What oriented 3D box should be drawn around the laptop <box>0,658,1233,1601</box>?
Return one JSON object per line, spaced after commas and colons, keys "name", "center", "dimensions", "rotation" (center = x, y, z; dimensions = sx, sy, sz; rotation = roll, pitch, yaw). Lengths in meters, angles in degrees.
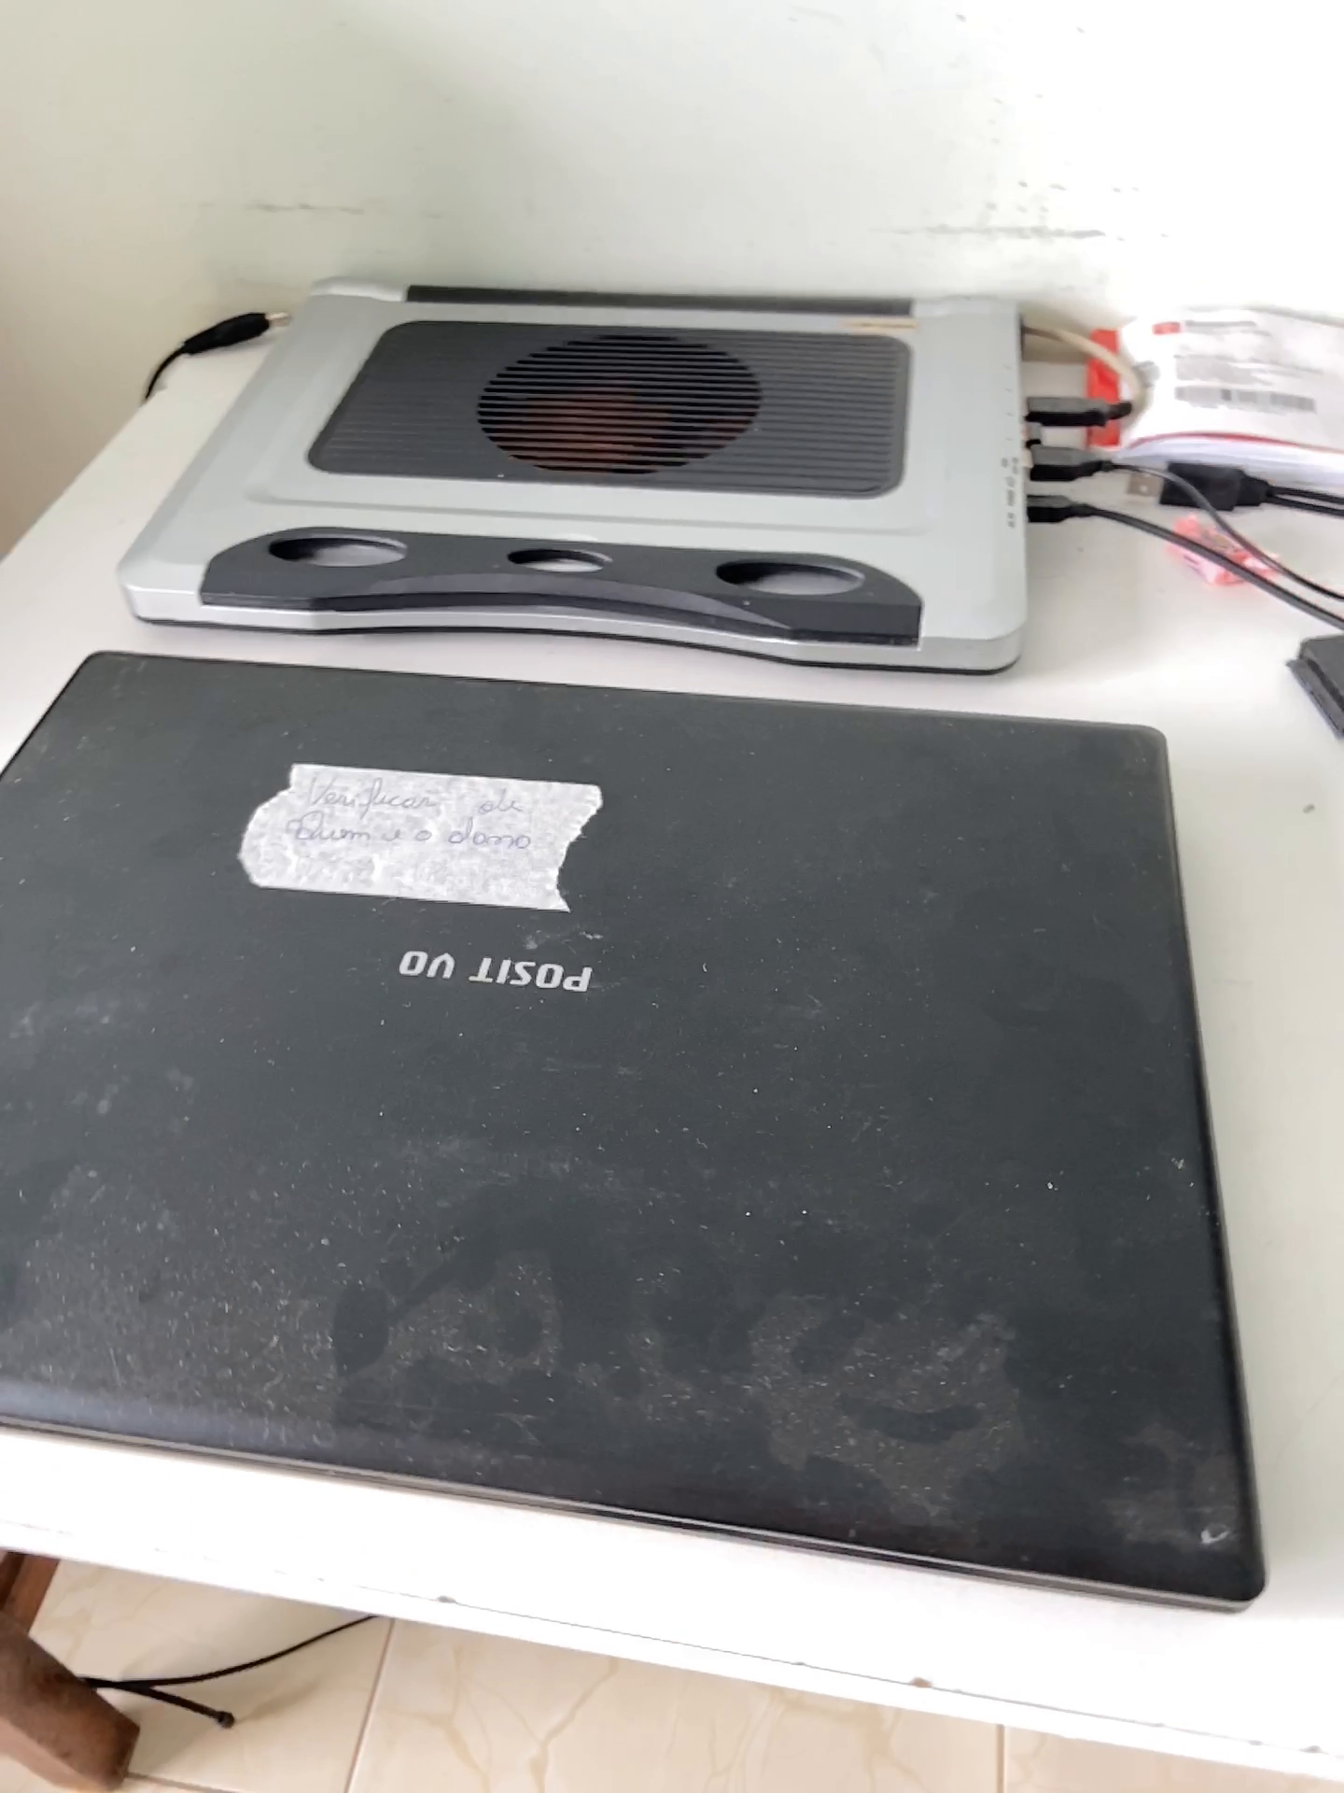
{"name": "laptop", "center": [-0.042, 0.026, 0.351], "dimensions": [0.328, 0.008, 0.235], "rotation": [5, 48, 8]}
